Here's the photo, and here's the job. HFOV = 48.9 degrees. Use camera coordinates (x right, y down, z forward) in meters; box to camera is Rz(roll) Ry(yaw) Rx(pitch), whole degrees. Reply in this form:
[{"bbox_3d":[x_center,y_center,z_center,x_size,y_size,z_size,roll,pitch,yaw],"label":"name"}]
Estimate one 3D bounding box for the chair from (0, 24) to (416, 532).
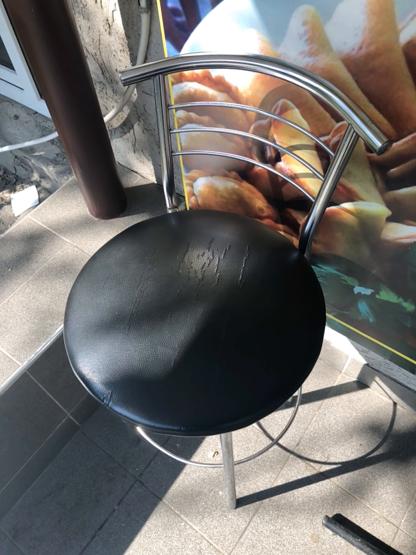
[{"bbox_3d":[0.013,0.140,1.040,0.510,1.097,0.501,16,58,15],"label":"chair"}]
